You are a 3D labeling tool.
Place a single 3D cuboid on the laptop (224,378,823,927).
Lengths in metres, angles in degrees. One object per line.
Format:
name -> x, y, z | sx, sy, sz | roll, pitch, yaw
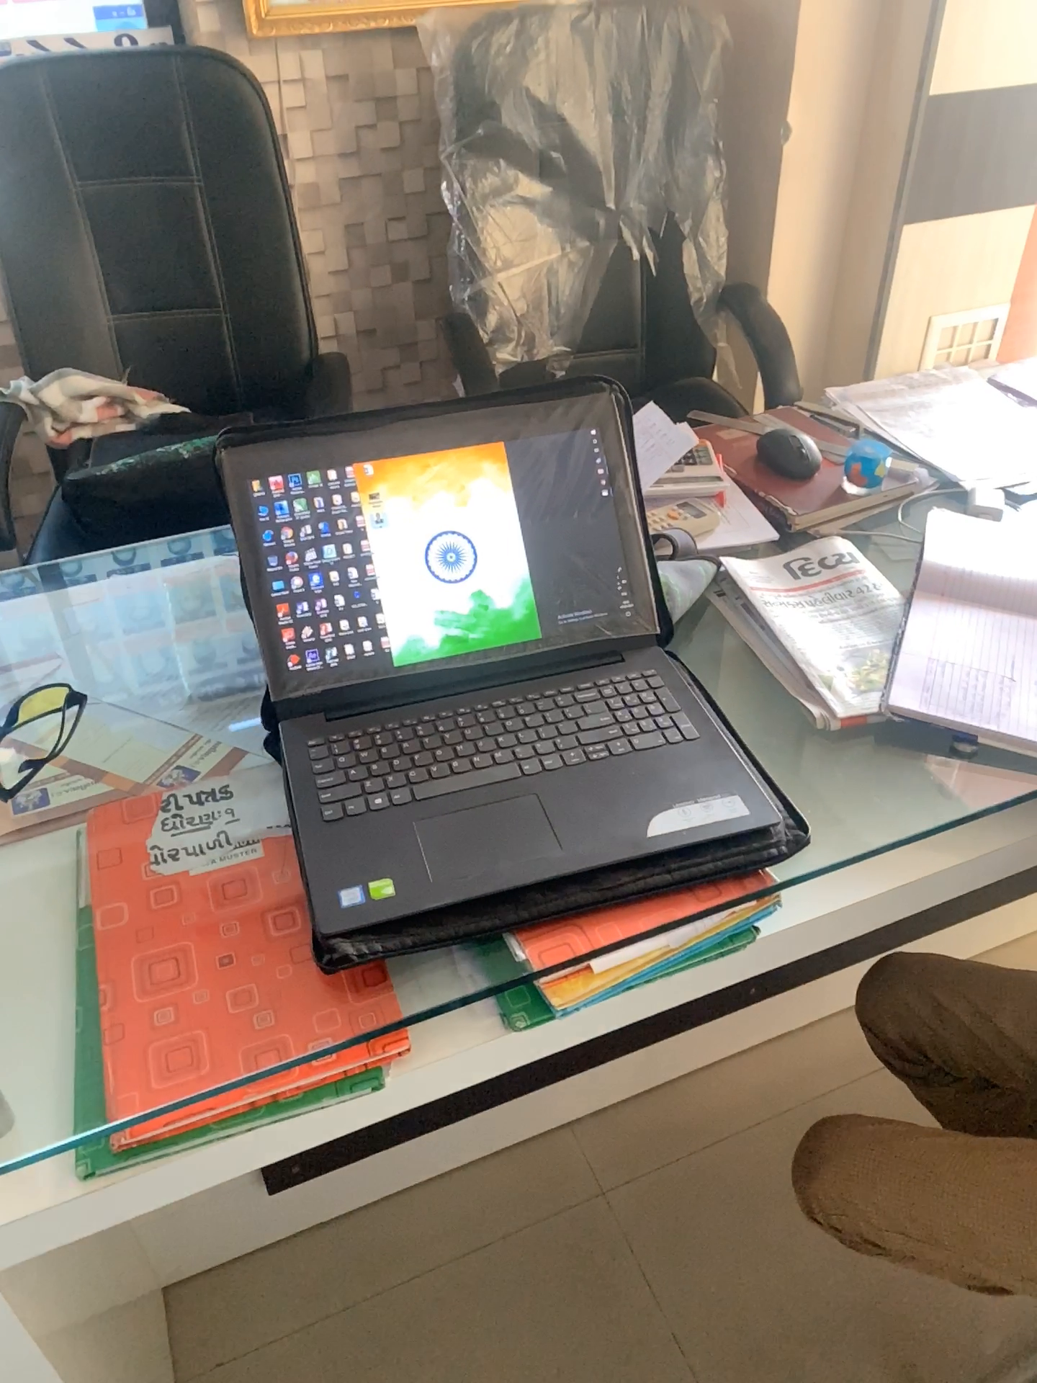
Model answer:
laptop -> -0.028, -0.063, 0.817 | 0.334, 0.175, 0.392 | -11, 39, -11
